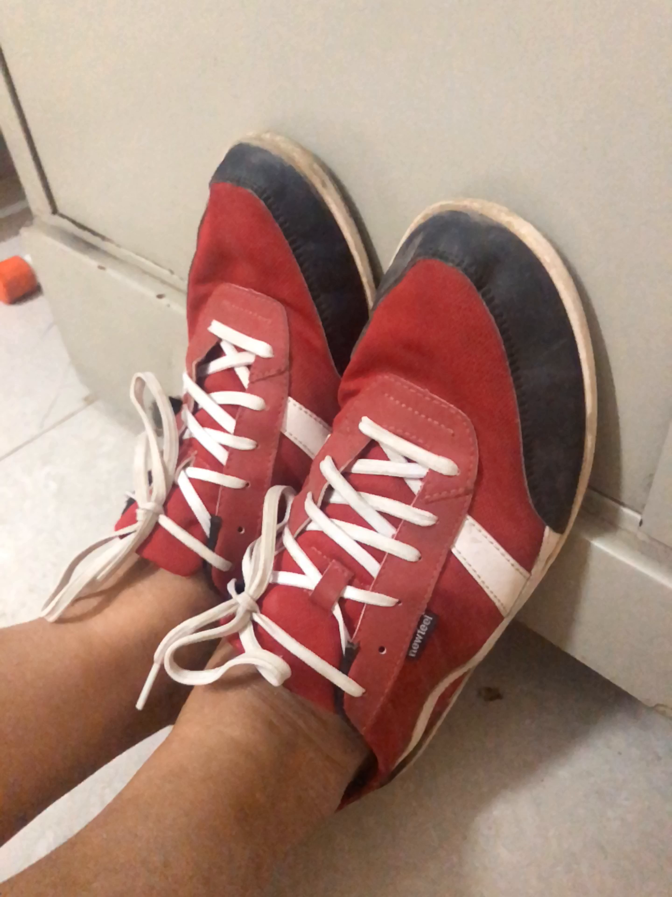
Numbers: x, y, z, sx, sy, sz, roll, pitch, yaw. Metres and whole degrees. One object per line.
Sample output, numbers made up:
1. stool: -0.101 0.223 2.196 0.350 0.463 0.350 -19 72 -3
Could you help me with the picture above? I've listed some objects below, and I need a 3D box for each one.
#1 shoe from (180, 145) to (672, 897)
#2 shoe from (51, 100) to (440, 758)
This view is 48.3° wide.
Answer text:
1. shoe: 0.031 0.030 0.291 0.100 0.249 0.080 29 20 30
2. shoe: -0.041 -0.009 0.317 0.100 0.229 0.080 18 15 22
